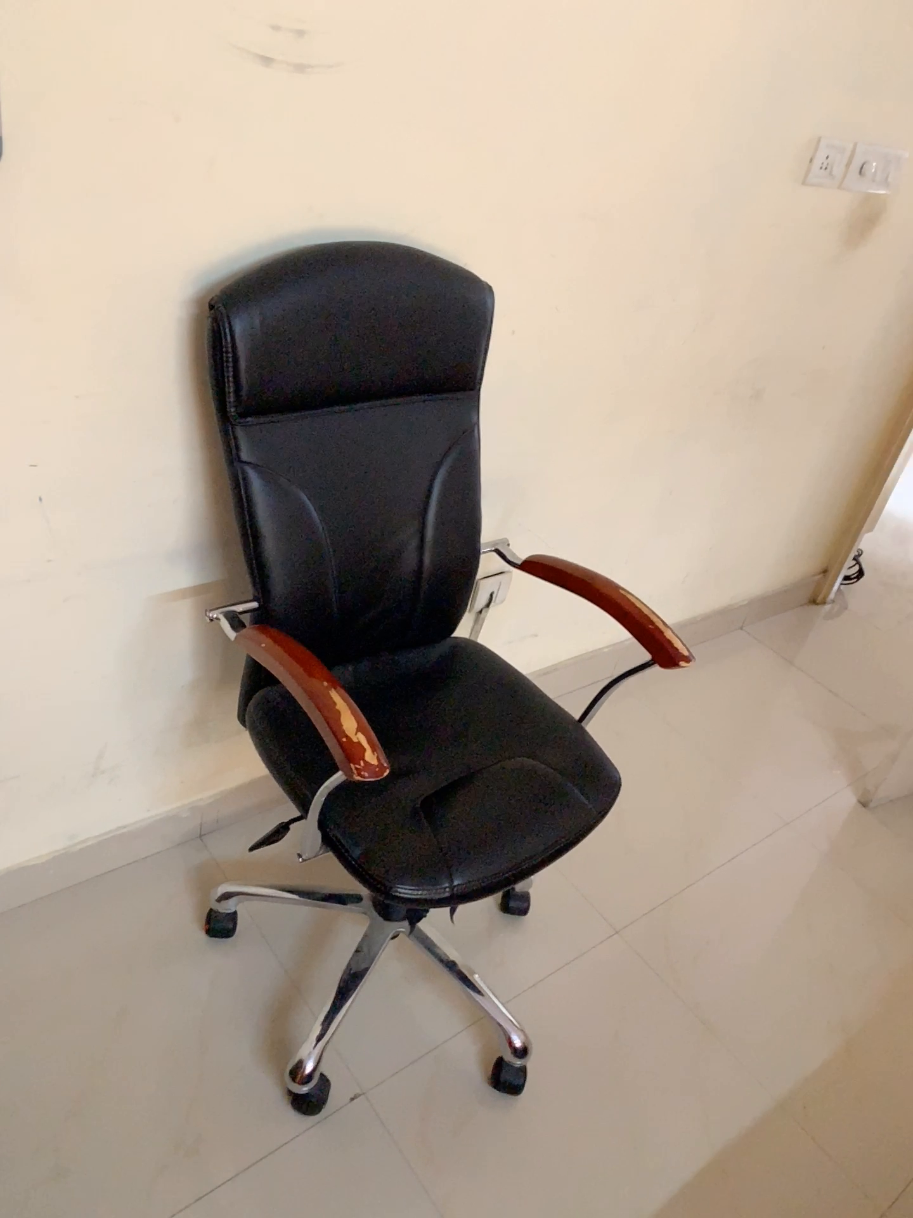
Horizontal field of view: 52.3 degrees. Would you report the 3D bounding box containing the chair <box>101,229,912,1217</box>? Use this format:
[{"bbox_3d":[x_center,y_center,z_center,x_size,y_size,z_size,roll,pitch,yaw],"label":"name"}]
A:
[{"bbox_3d":[-0.035,0.121,1.381,0.703,1.081,0.754,-15,42,-37],"label":"chair"}]
